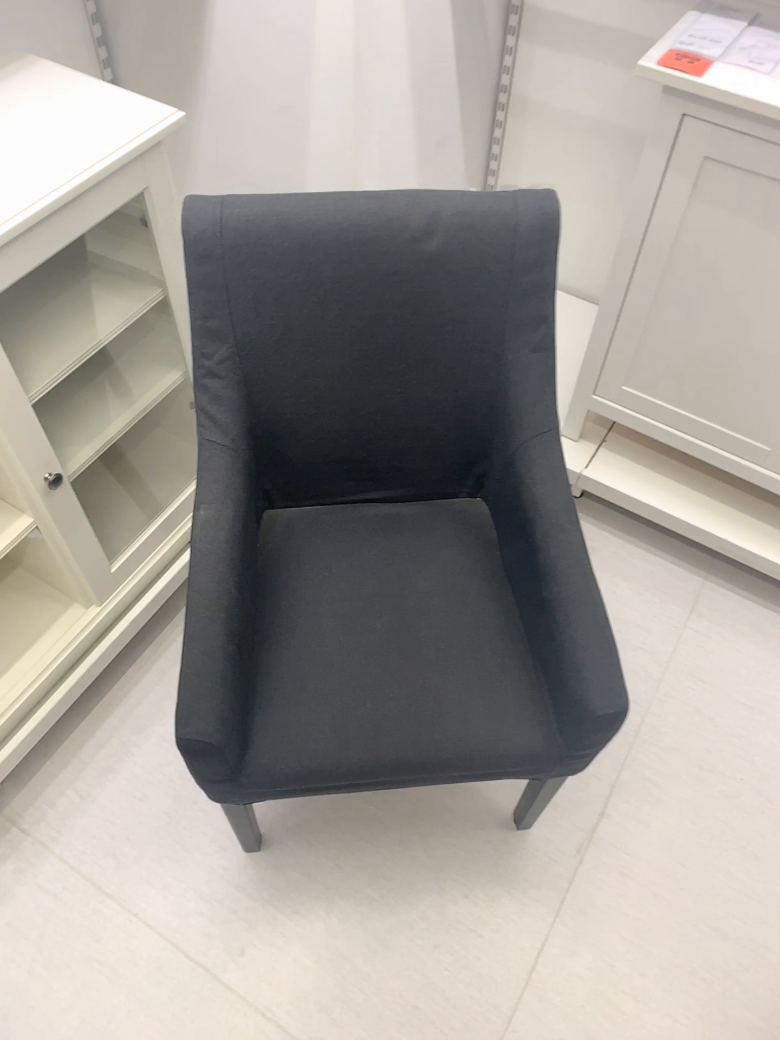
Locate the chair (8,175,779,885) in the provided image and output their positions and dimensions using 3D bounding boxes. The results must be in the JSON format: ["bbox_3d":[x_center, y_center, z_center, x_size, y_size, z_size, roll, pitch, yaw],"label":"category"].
[{"bbox_3d":[-0.005,0.097,1.200,0.660,0.947,0.612,-3,54,-4],"label":"chair"}]
